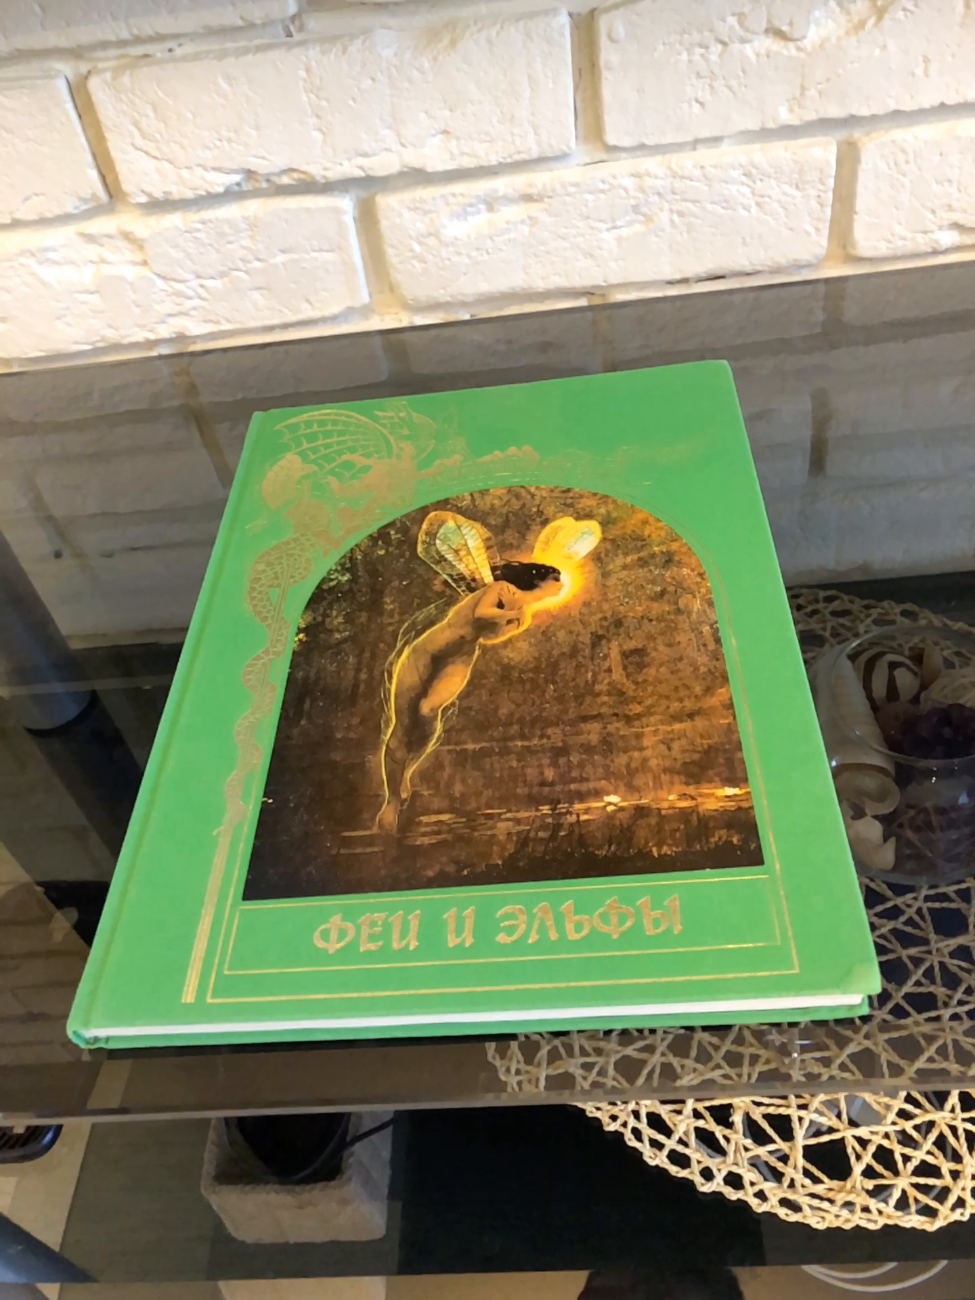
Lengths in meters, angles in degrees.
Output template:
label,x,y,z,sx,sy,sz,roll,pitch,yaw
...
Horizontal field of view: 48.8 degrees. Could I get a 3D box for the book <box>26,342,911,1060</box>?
label,x,y,z,sx,sy,sz,roll,pitch,yaw
book,-0.003,-0.009,0.374,0.217,0.030,0.292,-4,44,7
